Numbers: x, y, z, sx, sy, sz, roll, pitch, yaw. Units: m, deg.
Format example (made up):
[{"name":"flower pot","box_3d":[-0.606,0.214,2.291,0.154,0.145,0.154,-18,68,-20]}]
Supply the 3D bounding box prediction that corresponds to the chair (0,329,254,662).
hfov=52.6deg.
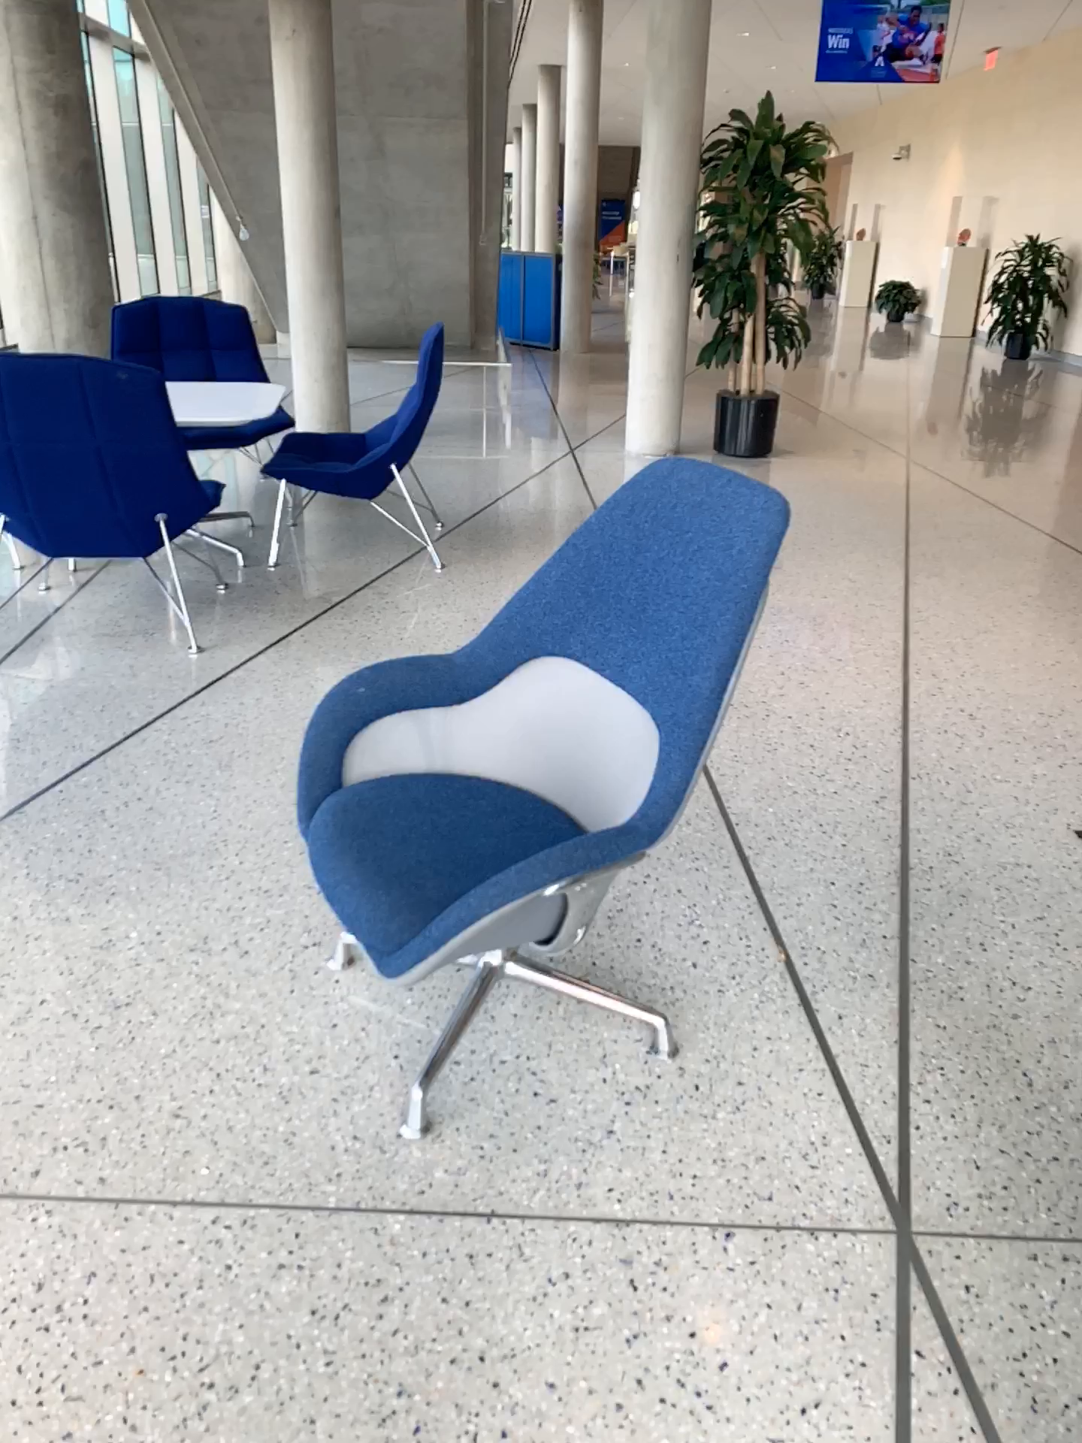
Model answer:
[{"name":"chair","box_3d":[-1.464,-0.765,3.594,0.804,0.915,0.780,0,23,-2]}]

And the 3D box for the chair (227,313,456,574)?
[{"name":"chair","box_3d":[-0.780,-1.204,4.630,0.774,0.915,0.901,1,23,-1]}]

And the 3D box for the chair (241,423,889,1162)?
[{"name":"chair","box_3d":[-0.017,0.032,1.905,0.785,0.934,0.728,-9,25,-23]}]
